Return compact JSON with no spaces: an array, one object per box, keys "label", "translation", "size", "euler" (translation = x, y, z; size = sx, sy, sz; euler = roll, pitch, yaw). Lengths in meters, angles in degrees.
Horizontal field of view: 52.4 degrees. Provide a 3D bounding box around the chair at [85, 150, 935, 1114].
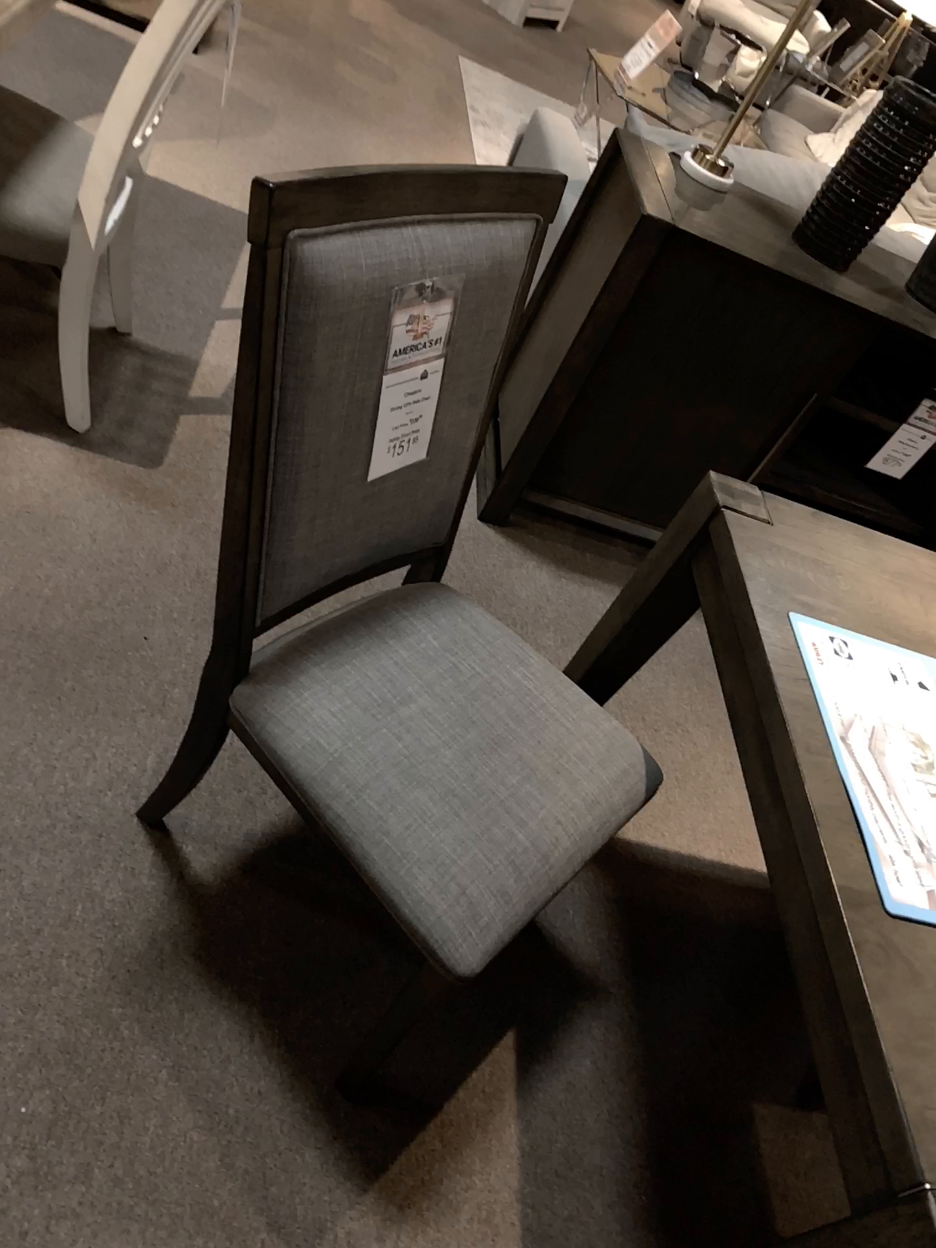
[{"label":"chair","translation":[-0.021,0.042,1.249],"size":[0.643,0.997,0.516],"euler":[43,43,14]}]
